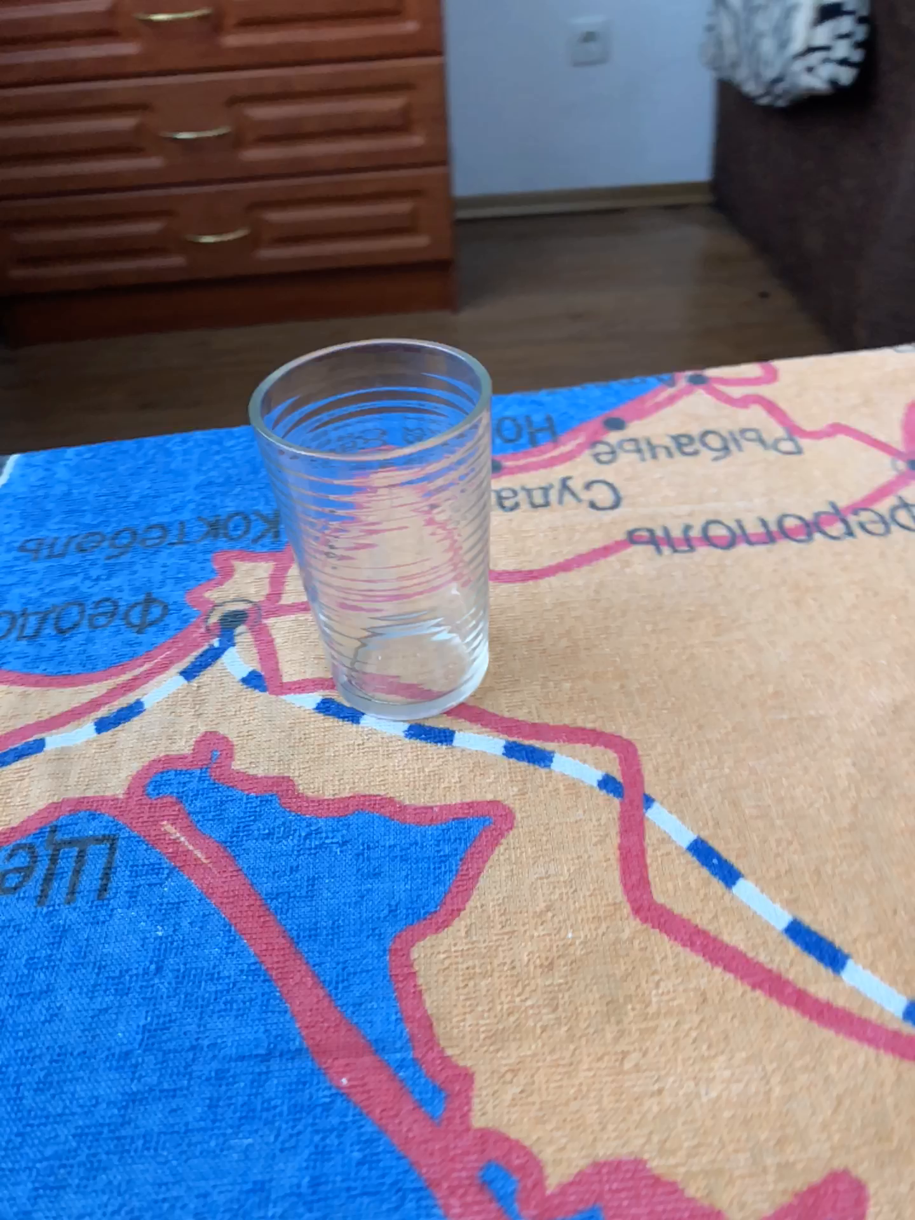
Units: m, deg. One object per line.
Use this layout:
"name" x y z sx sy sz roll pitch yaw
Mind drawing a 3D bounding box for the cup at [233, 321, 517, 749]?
"cup" -0.021 -0.022 0.302 0.068 0.099 0.071 -2 40 2
